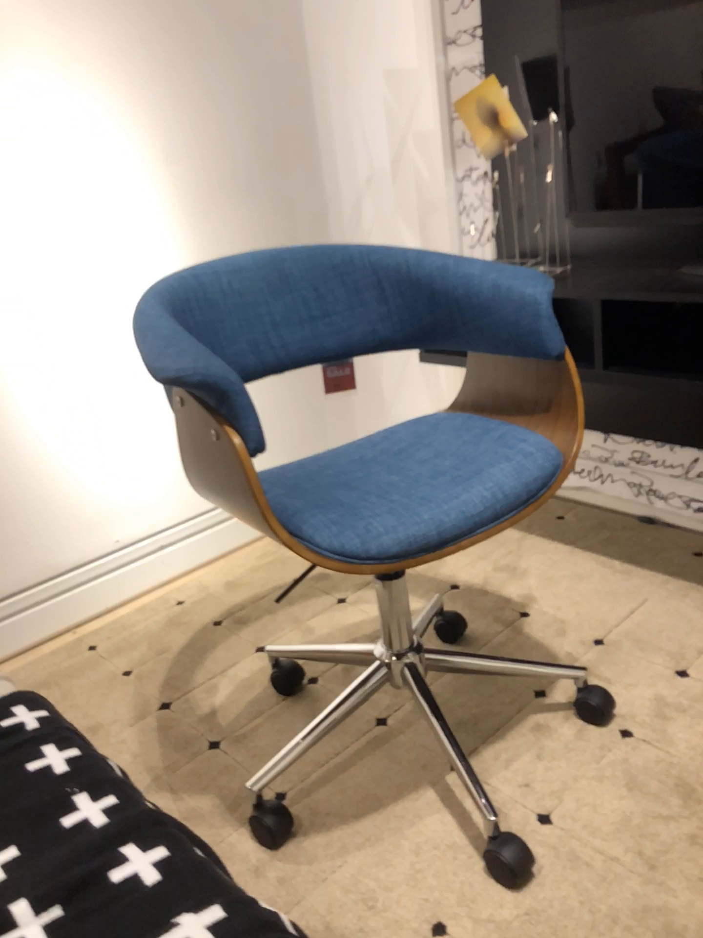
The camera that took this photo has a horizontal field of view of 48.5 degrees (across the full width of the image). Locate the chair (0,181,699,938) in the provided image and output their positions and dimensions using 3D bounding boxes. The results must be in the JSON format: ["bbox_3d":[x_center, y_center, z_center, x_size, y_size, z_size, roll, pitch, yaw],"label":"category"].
[{"bbox_3d":[0.007,0.053,1.121,0.612,0.775,0.672,-22,25,-34],"label":"chair"}]
